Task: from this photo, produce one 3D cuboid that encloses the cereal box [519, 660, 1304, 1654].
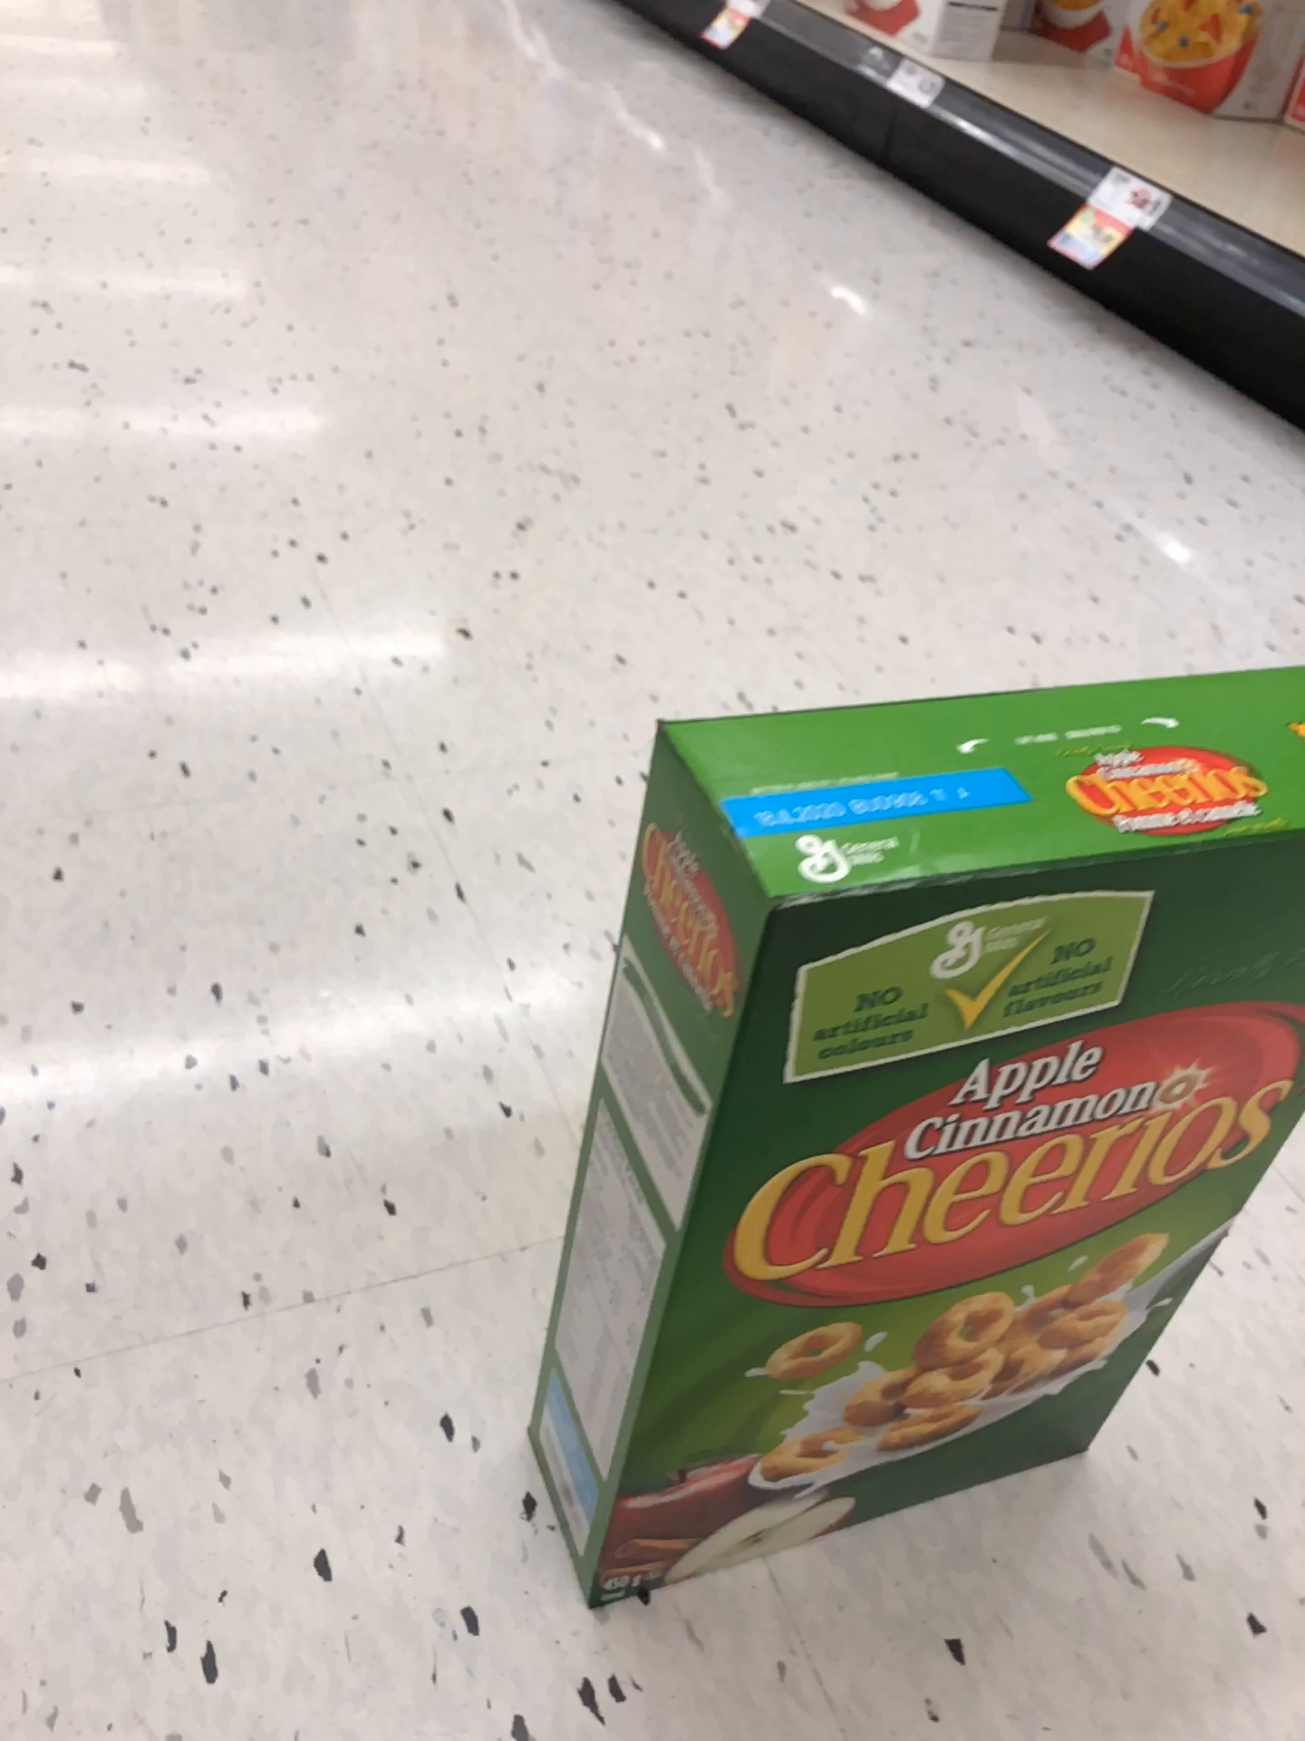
[{"bbox_3d":[0.077,0.086,0.384,0.190,0.278,0.060,-8,42,-22],"label":"cereal box"}]
